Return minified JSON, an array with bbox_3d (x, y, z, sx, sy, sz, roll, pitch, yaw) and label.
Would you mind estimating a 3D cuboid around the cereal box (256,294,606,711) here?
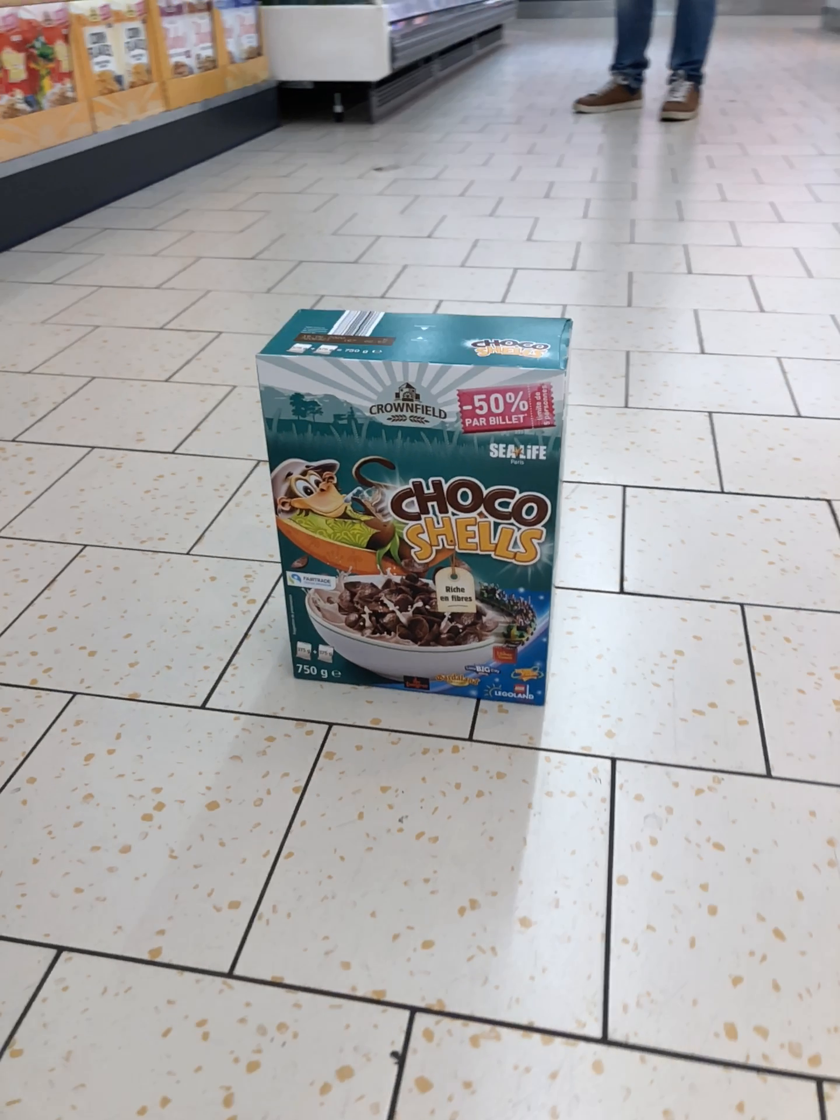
[{"bbox_3d":[0.015,-0.039,0.662,0.210,0.268,0.101,5,32,10],"label":"cereal box"}]
